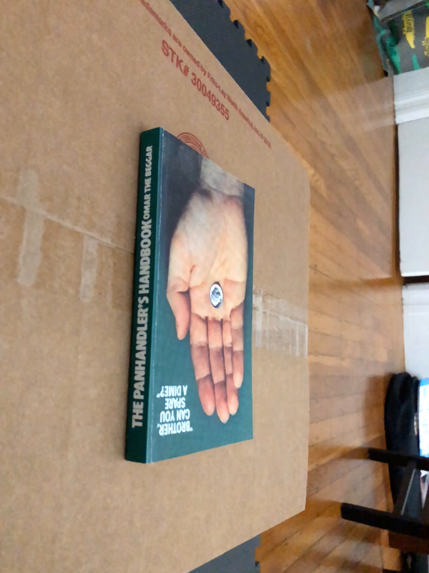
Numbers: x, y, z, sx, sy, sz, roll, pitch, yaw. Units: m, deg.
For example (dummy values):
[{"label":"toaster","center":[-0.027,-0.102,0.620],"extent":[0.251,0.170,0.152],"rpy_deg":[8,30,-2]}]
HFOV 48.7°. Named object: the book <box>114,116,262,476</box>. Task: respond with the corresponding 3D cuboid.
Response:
[{"label":"book","center":[-0.007,0.009,0.291],"extent":[0.121,0.020,0.180],"rpy_deg":[17,72,-58]}]
